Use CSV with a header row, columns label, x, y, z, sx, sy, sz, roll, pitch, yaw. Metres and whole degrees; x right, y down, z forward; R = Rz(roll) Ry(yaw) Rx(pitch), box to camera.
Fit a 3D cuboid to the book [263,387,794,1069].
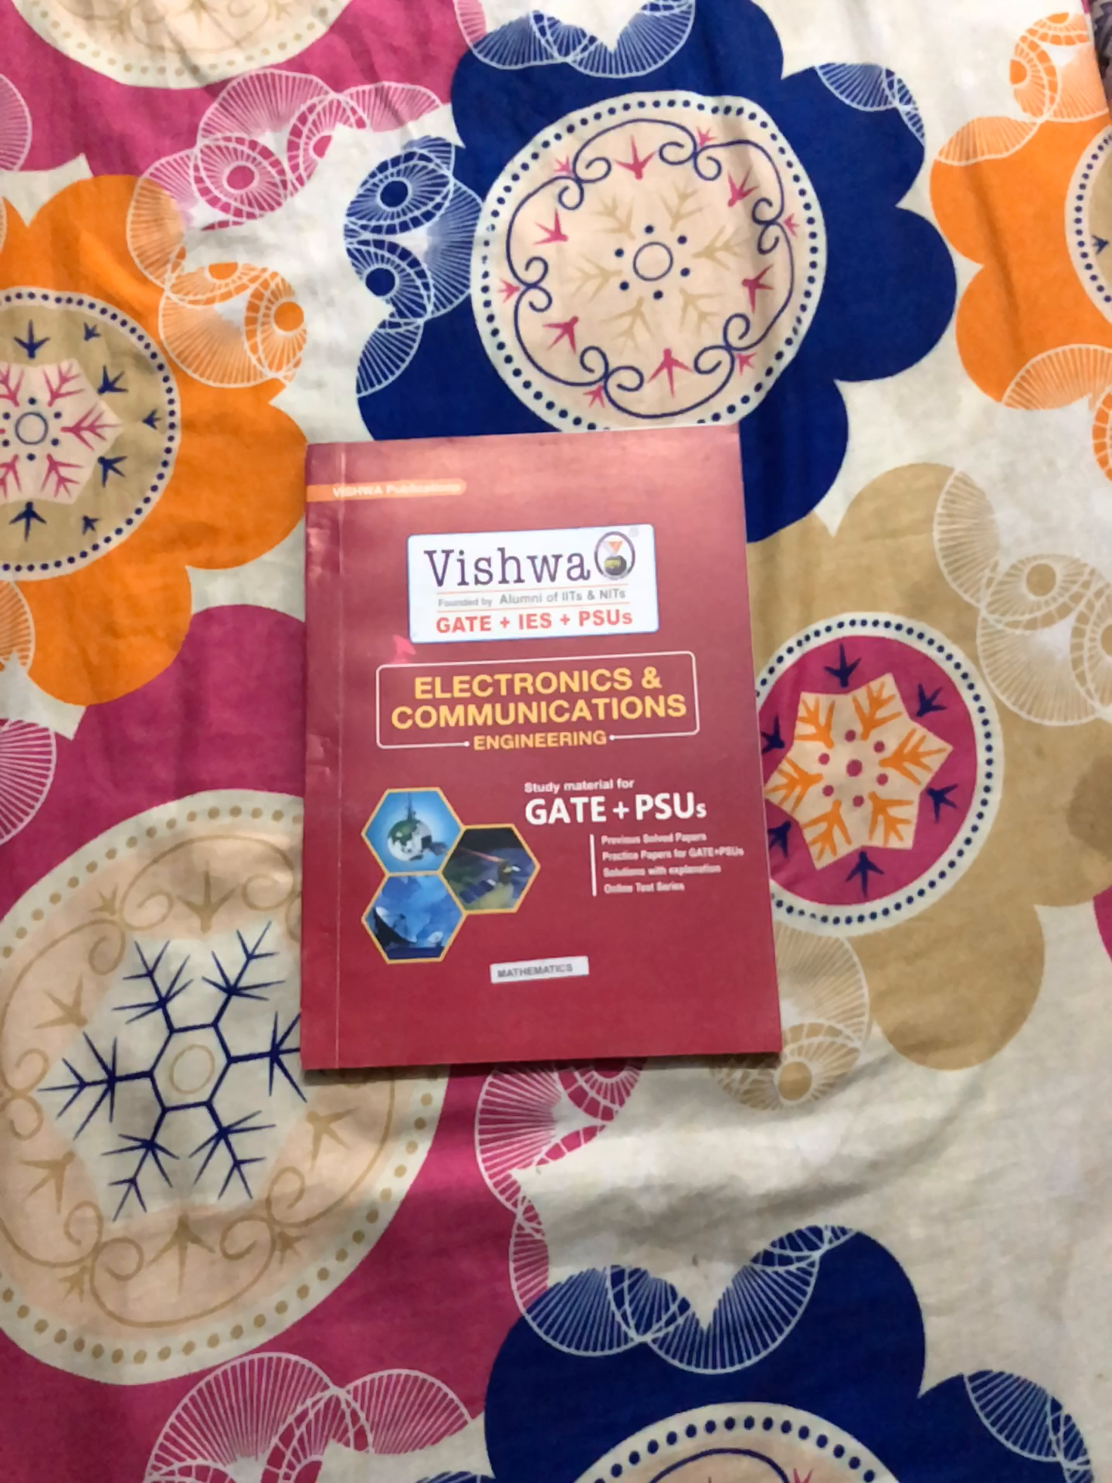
label,x,y,z,sx,sy,sz,roll,pitch,yaw
book,-0.016,-0.012,0.555,0.217,0.030,0.300,-2,76,0
